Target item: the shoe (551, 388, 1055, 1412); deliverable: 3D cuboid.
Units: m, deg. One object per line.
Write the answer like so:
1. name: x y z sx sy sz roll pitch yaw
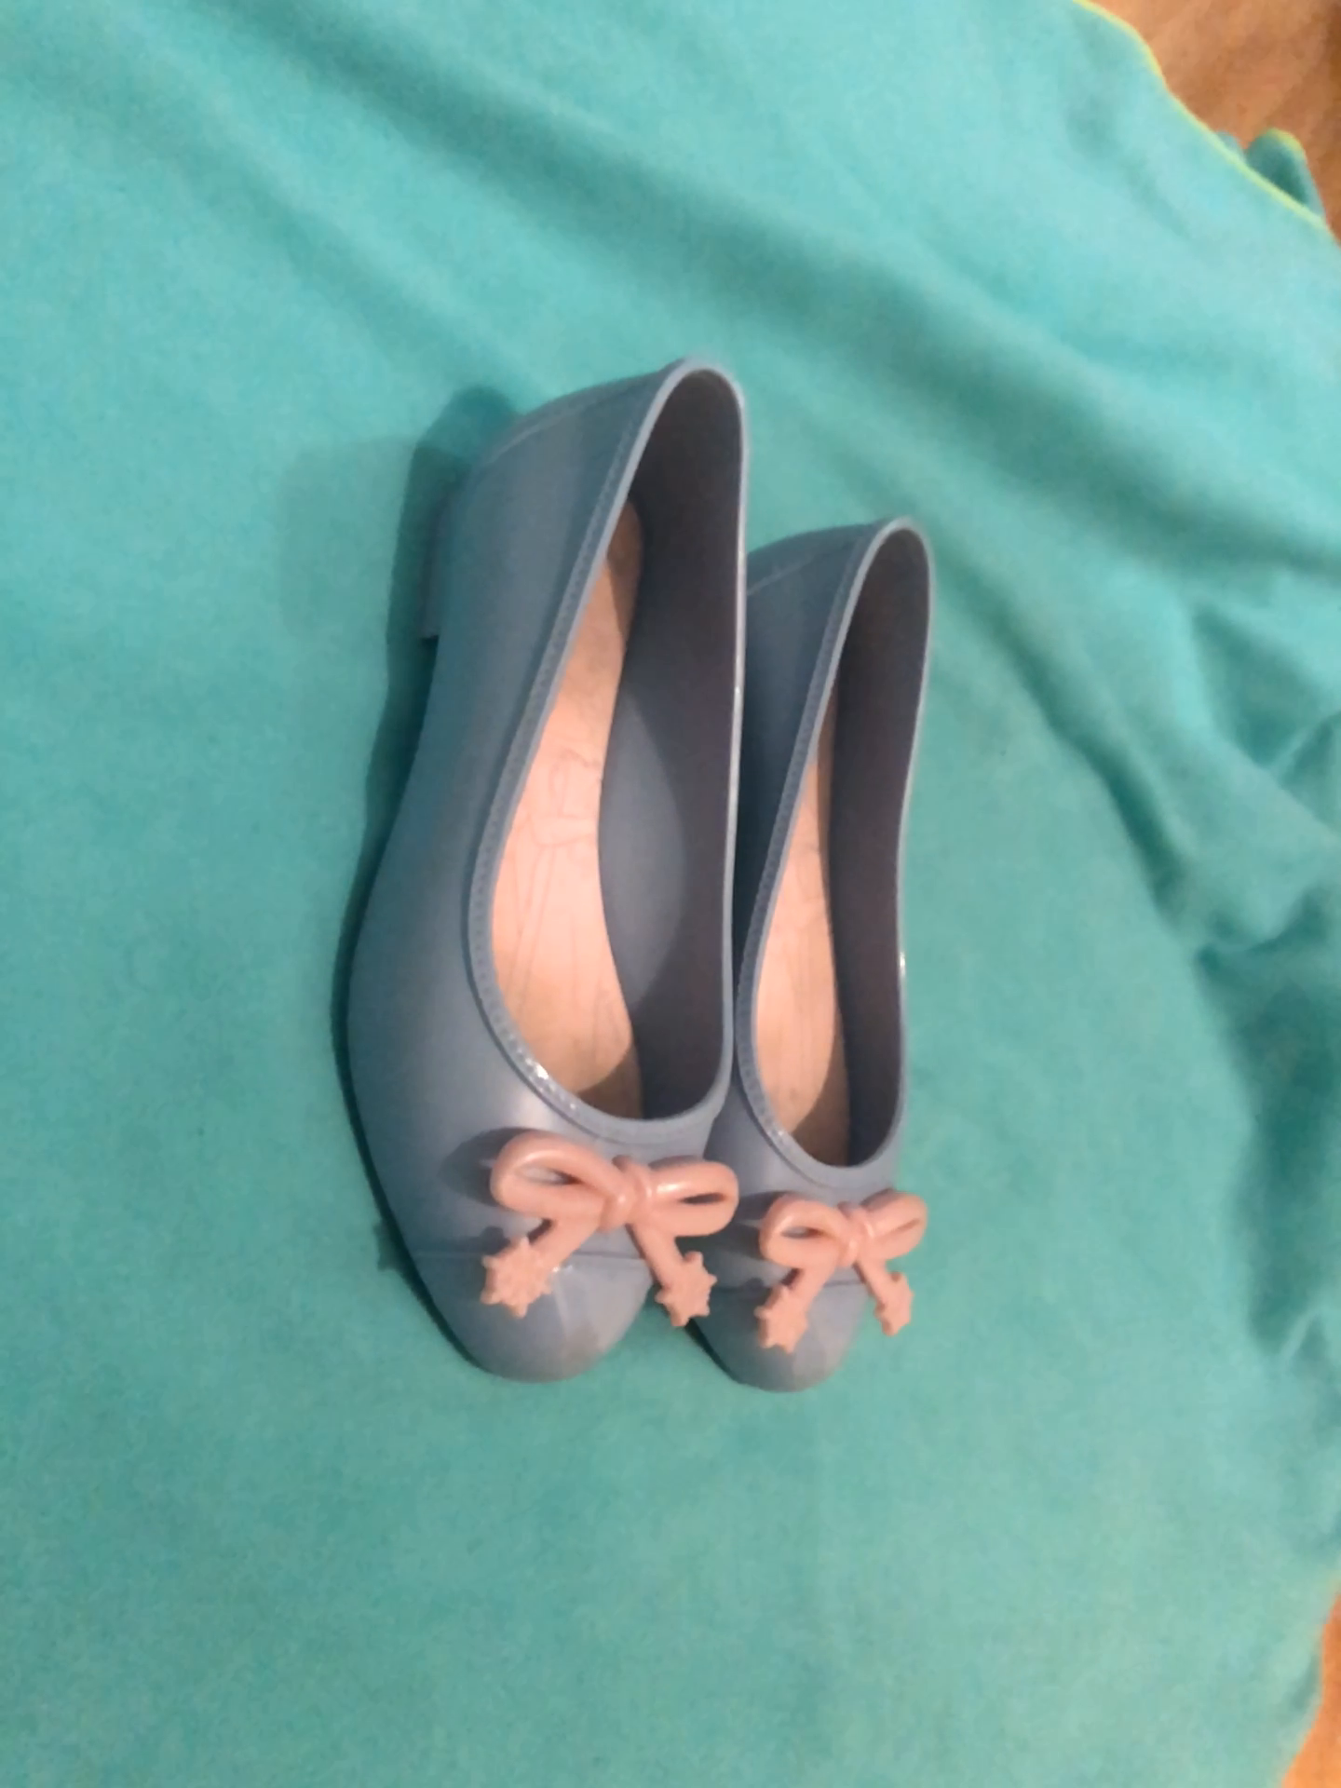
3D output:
1. shoe: 0.027 0.004 0.321 0.081 0.060 0.190 9 74 -47

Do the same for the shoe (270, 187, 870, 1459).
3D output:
1. shoe: -0.019 -0.009 0.266 0.081 0.060 0.190 9 74 -47
